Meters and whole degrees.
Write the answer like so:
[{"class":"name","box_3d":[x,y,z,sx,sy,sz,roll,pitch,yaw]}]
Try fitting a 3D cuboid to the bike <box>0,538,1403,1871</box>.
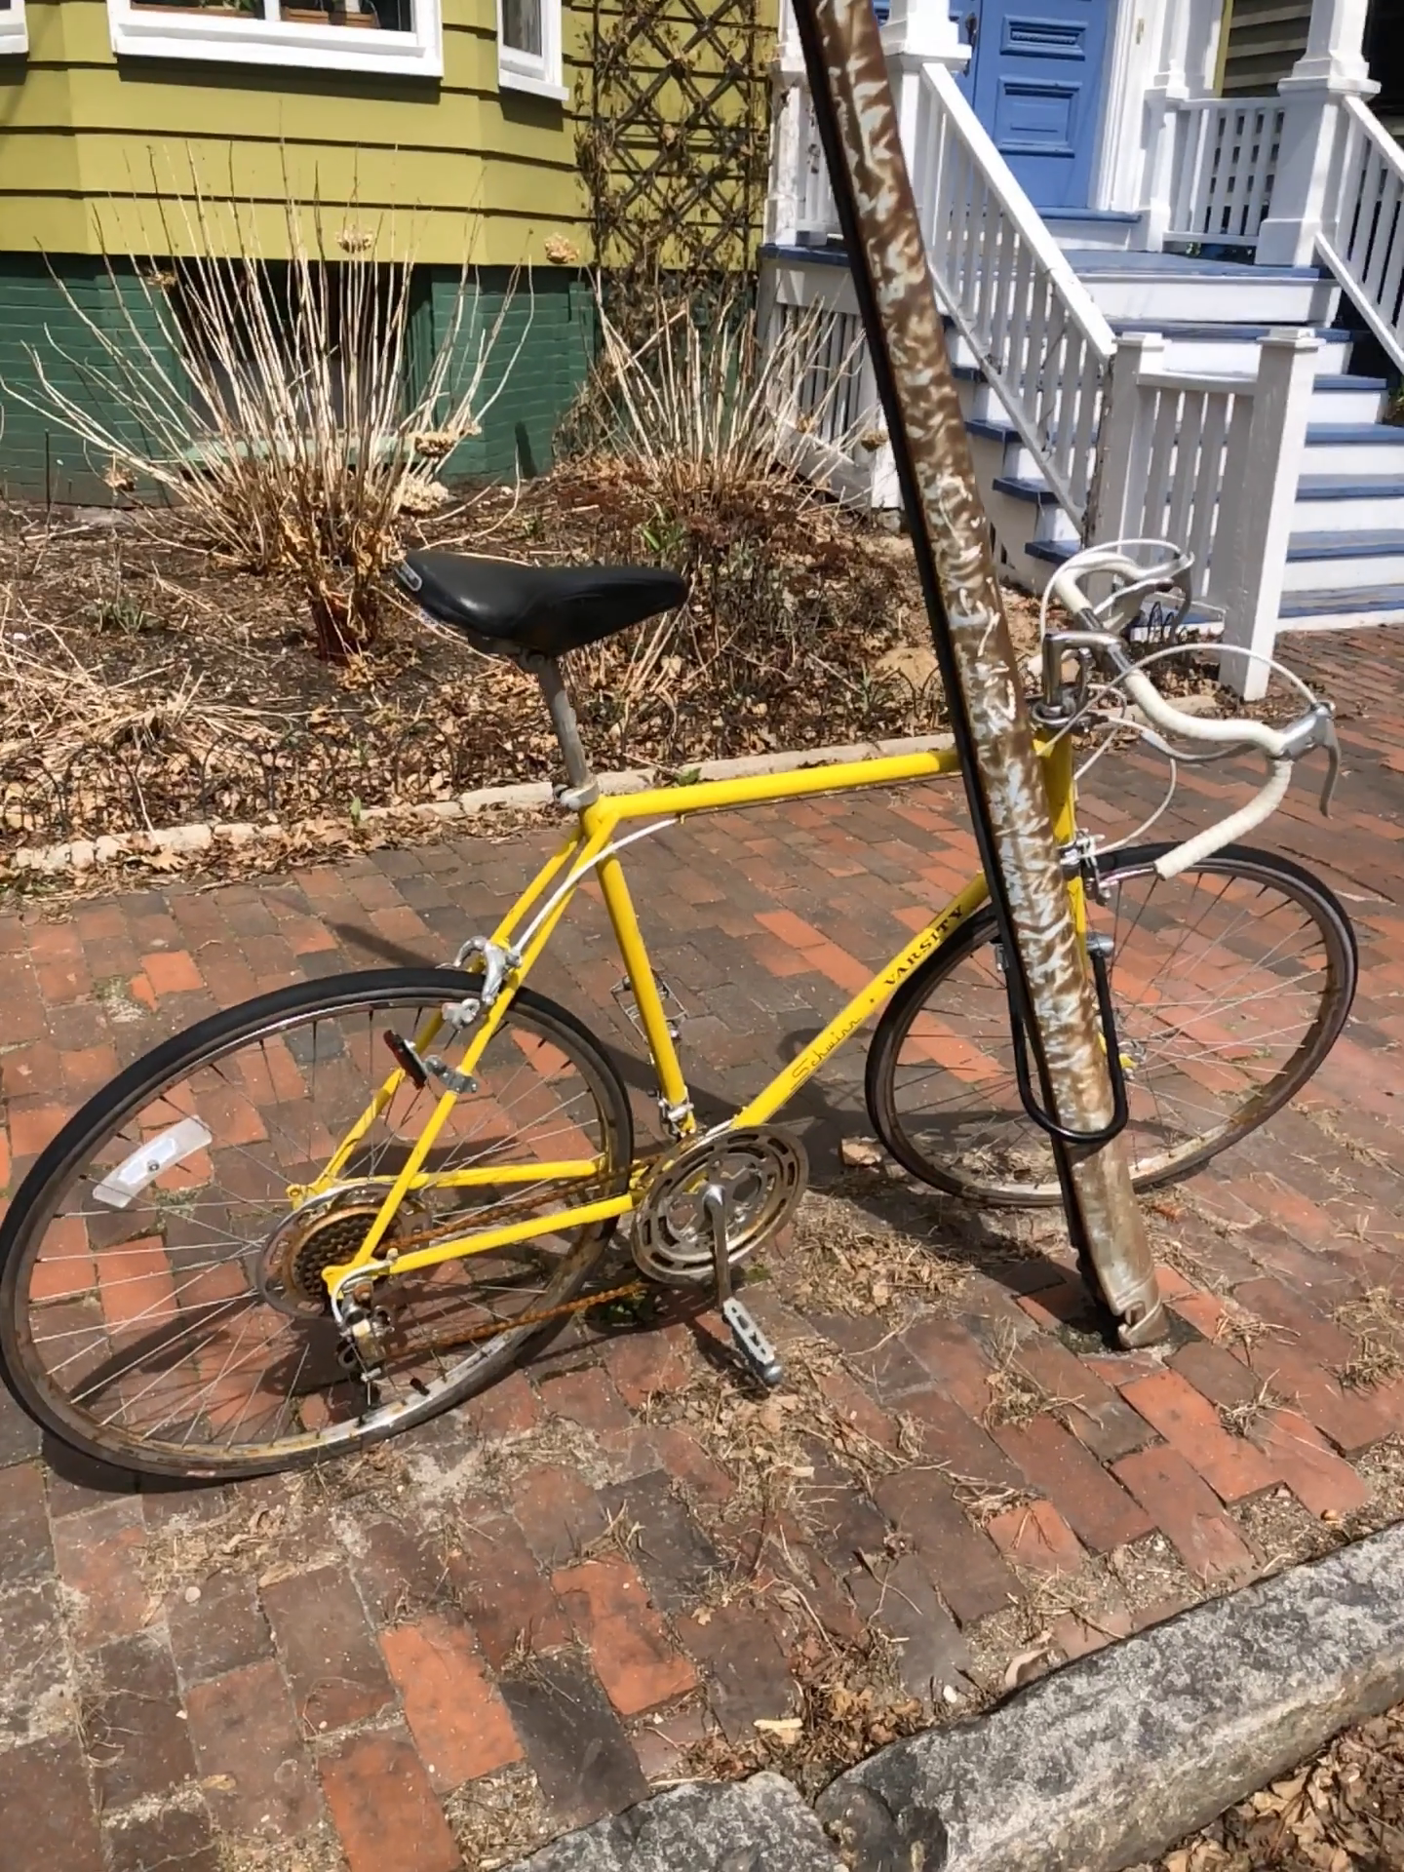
[{"class":"bike","box_3d":[0.157,0.148,1.683,1.704,0.855,0.525,-12,26,-20]}]
